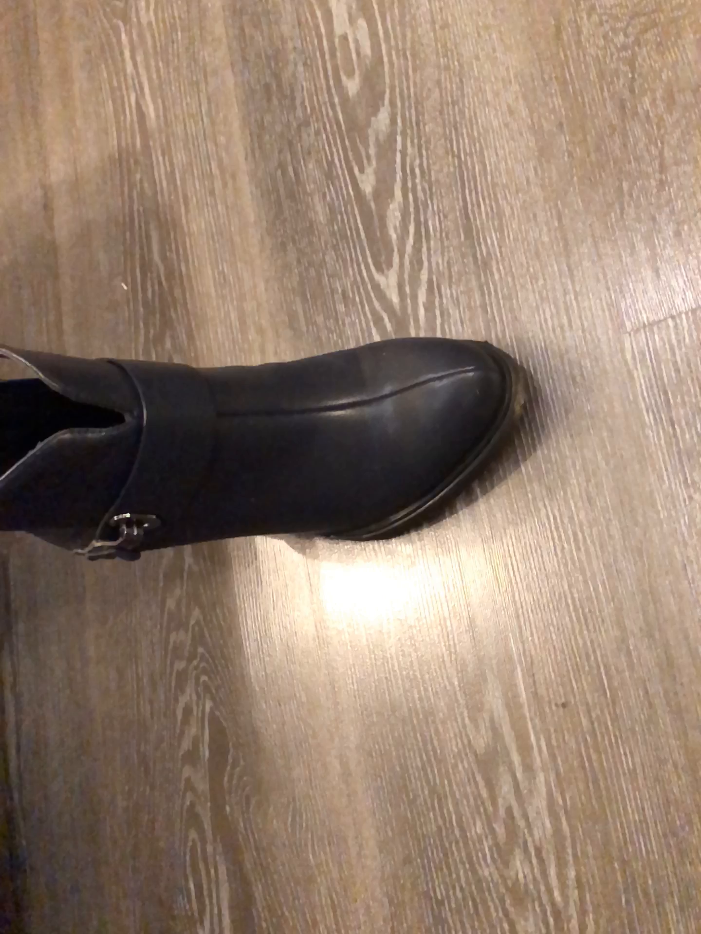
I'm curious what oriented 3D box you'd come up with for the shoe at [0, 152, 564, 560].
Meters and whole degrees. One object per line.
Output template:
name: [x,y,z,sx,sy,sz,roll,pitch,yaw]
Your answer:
shoe: [-0.050,-0.015,0.336,0.221,0.179,0.100,-8,80,35]
